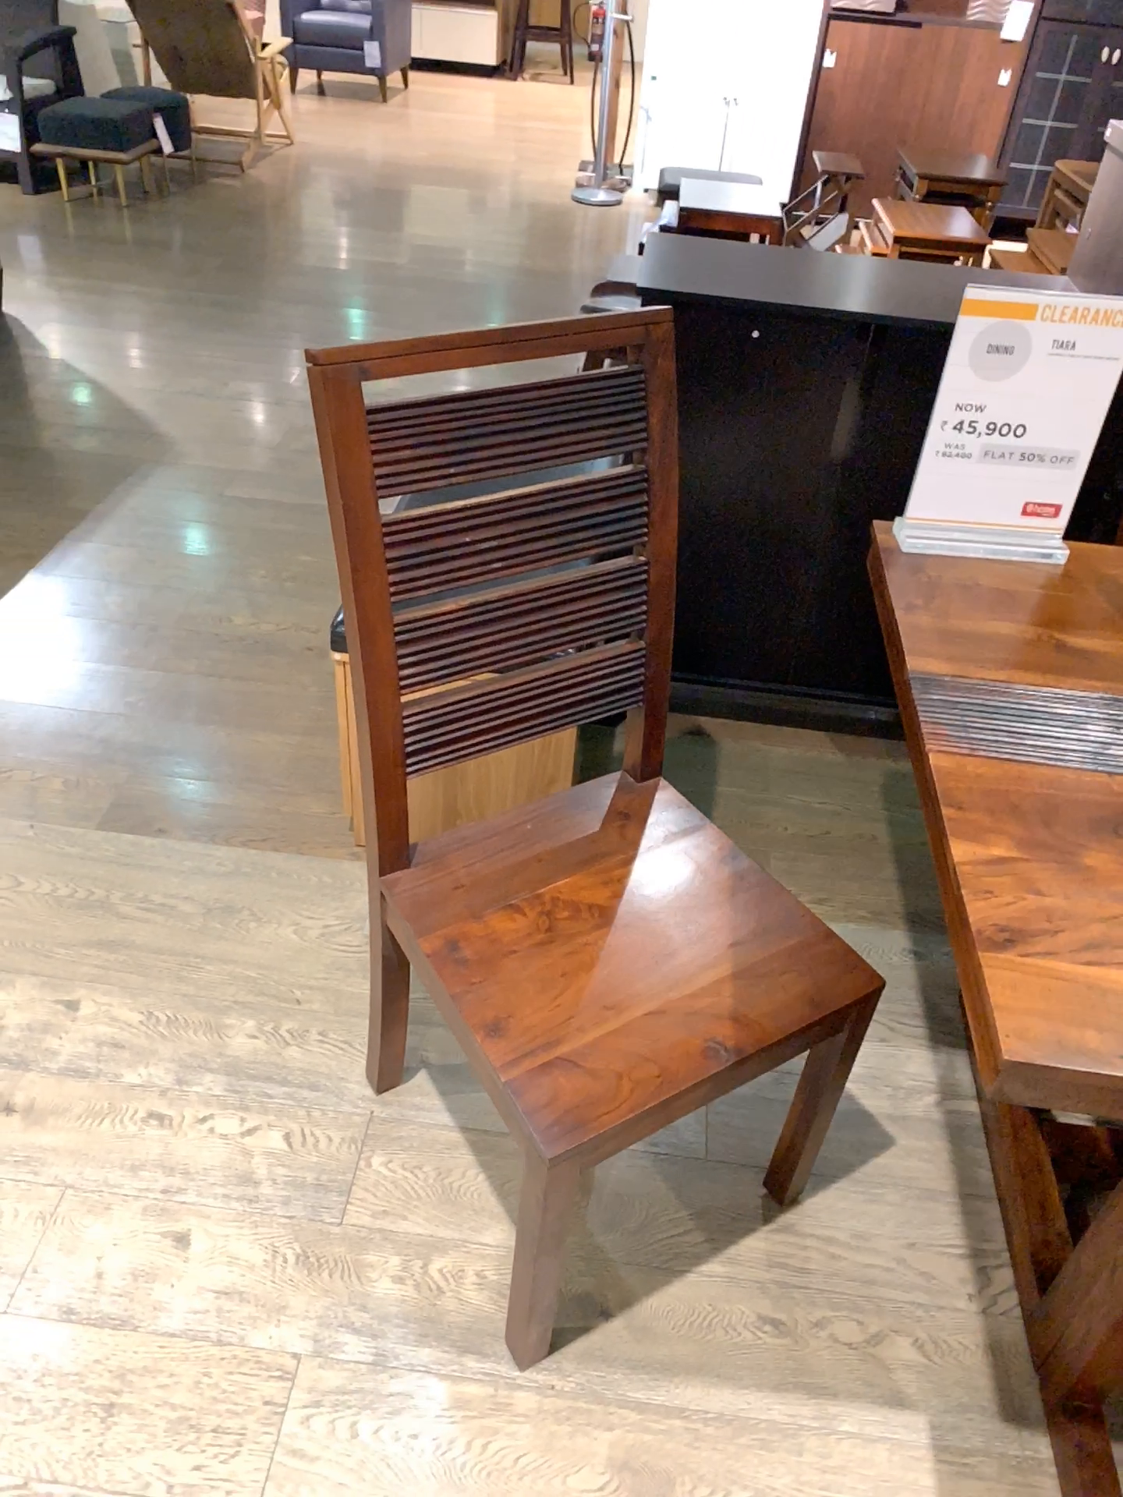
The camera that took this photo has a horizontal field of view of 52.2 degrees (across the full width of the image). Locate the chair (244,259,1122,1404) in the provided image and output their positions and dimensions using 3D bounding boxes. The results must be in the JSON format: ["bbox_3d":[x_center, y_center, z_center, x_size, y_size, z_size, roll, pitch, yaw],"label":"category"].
[{"bbox_3d":[0.057,0.091,1.227,0.521,0.996,0.532,-19,43,-29],"label":"chair"}]
